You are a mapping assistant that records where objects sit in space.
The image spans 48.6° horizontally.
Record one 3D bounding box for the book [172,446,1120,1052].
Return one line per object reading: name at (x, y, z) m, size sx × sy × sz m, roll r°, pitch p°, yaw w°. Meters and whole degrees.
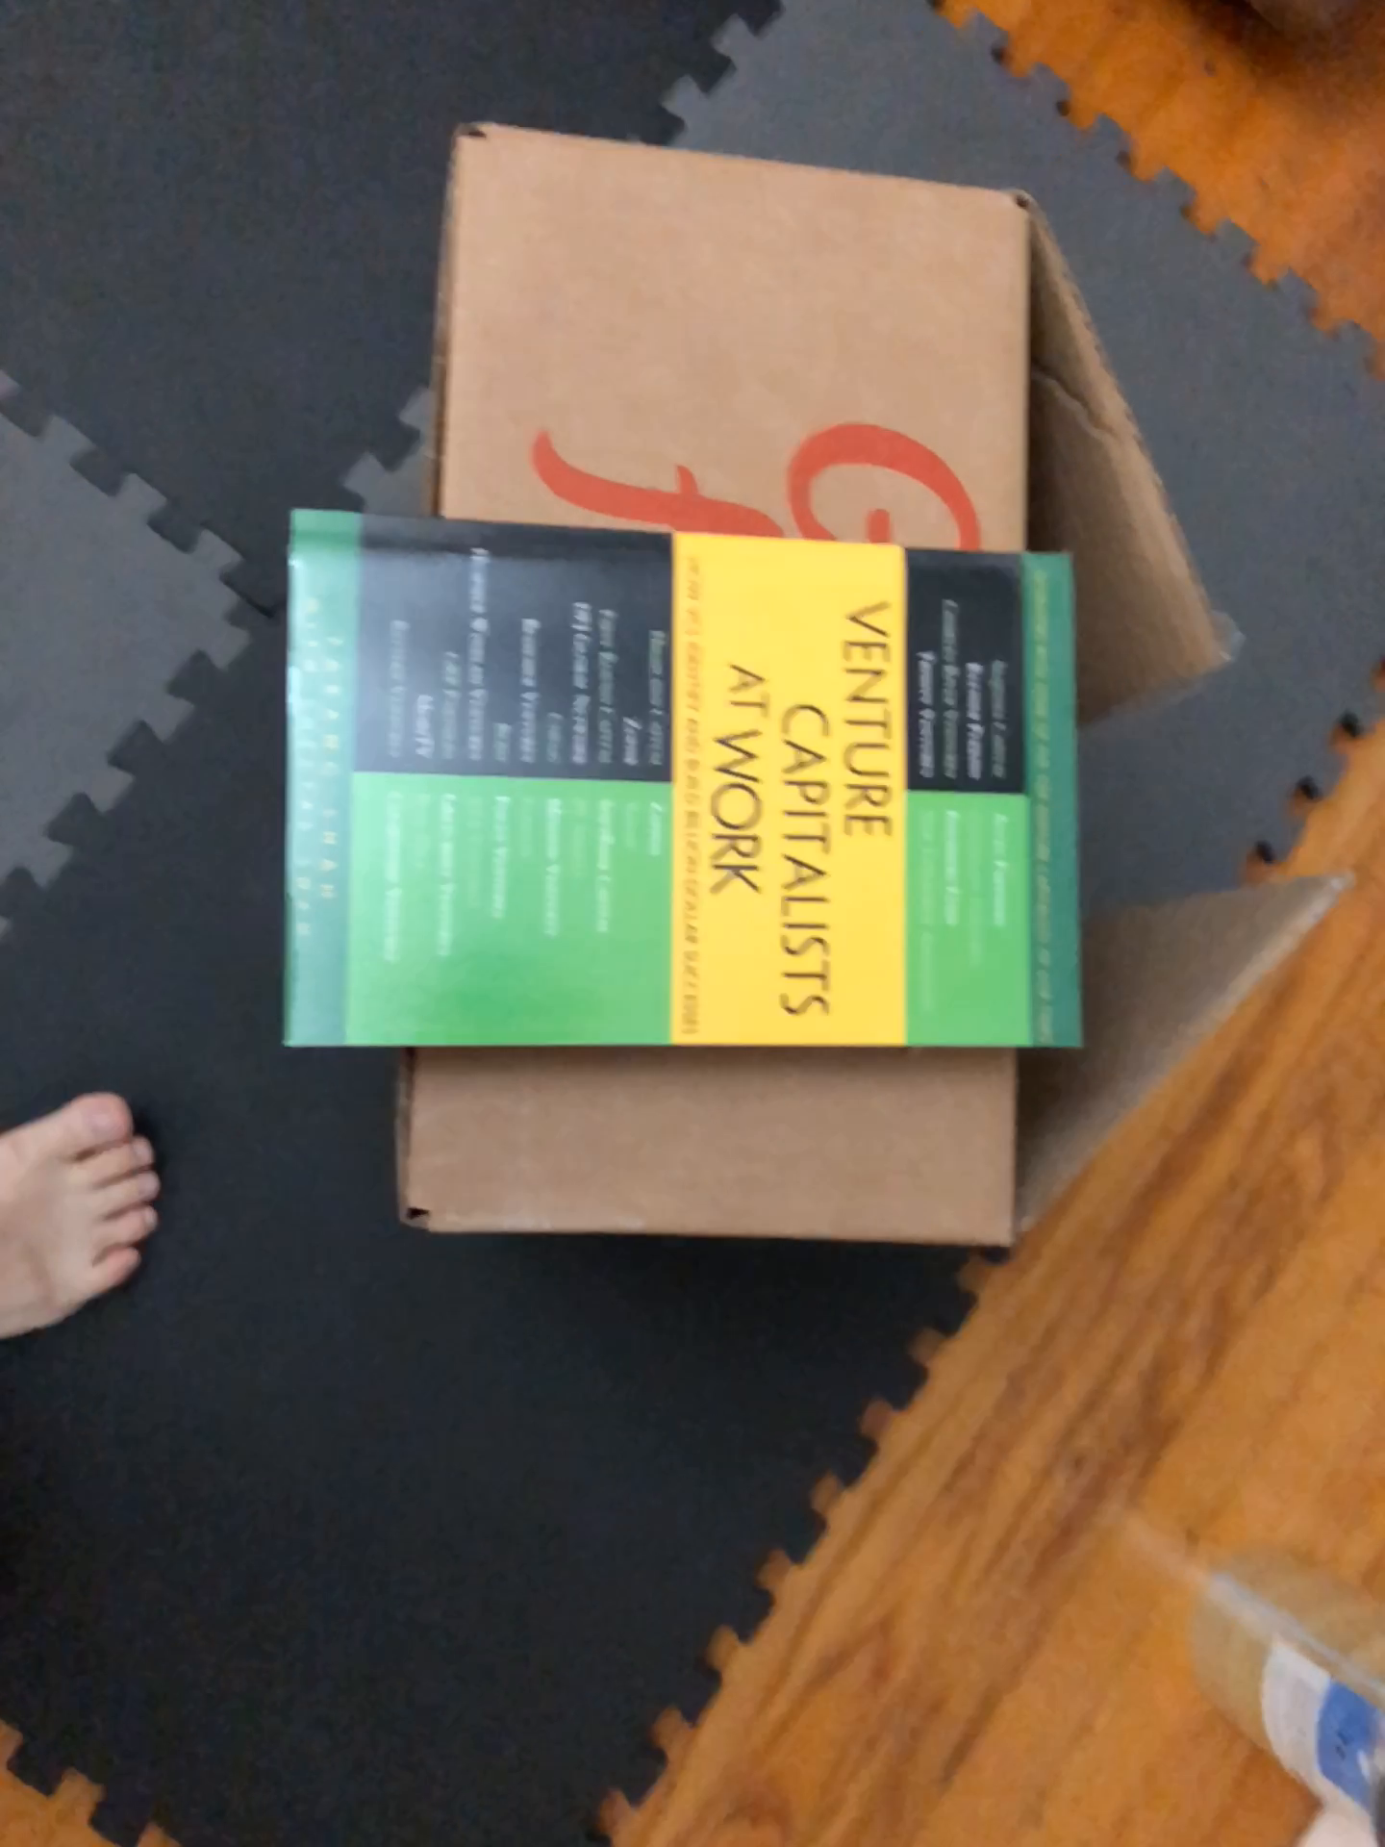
book at (-0.009, -0.045, 0.446) m, size 0.260 × 0.040 × 0.160 m, roll 2°, pitch 84°, yaw -8°
